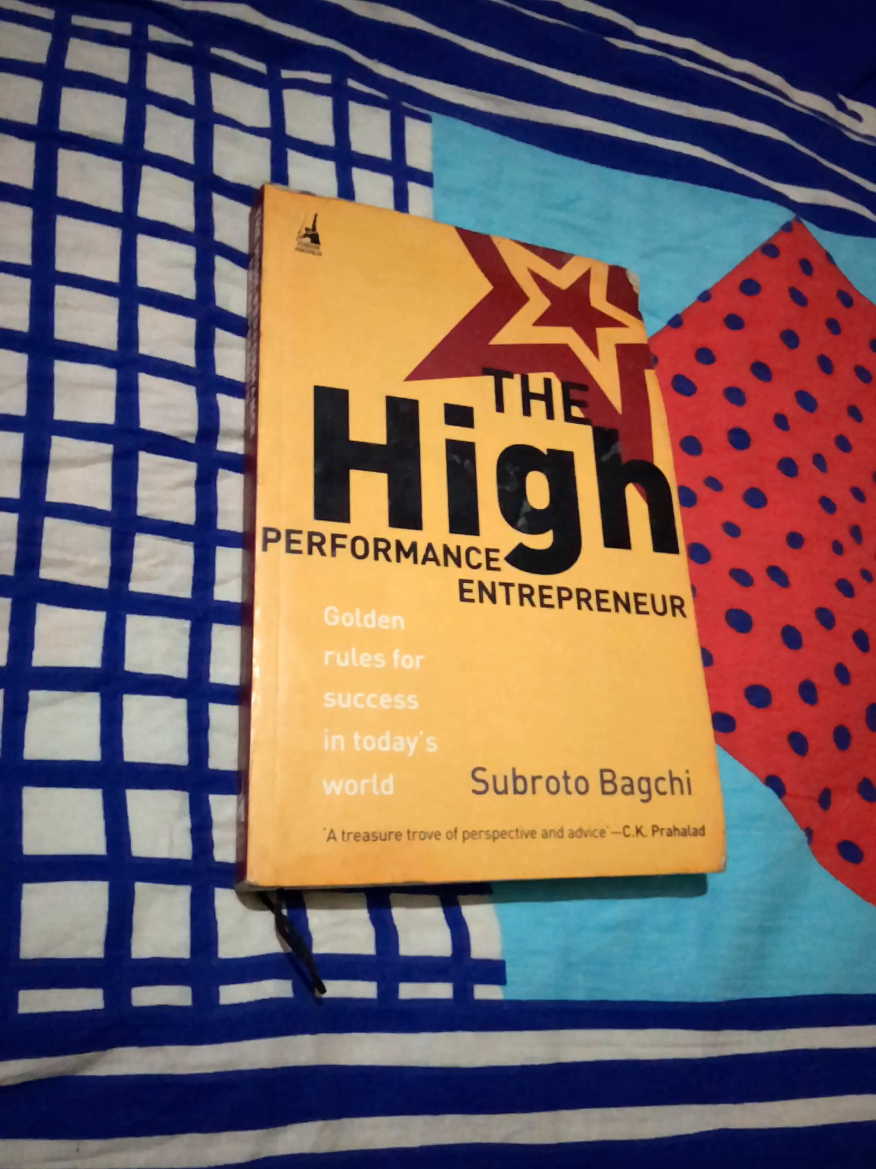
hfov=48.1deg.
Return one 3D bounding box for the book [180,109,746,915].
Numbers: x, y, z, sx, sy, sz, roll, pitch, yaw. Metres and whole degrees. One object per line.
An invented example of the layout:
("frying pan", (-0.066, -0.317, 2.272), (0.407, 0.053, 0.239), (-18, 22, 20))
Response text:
("book", (0.005, -0.024, 0.295), (0.140, 0.040, 0.230), (6, 66, -20))
